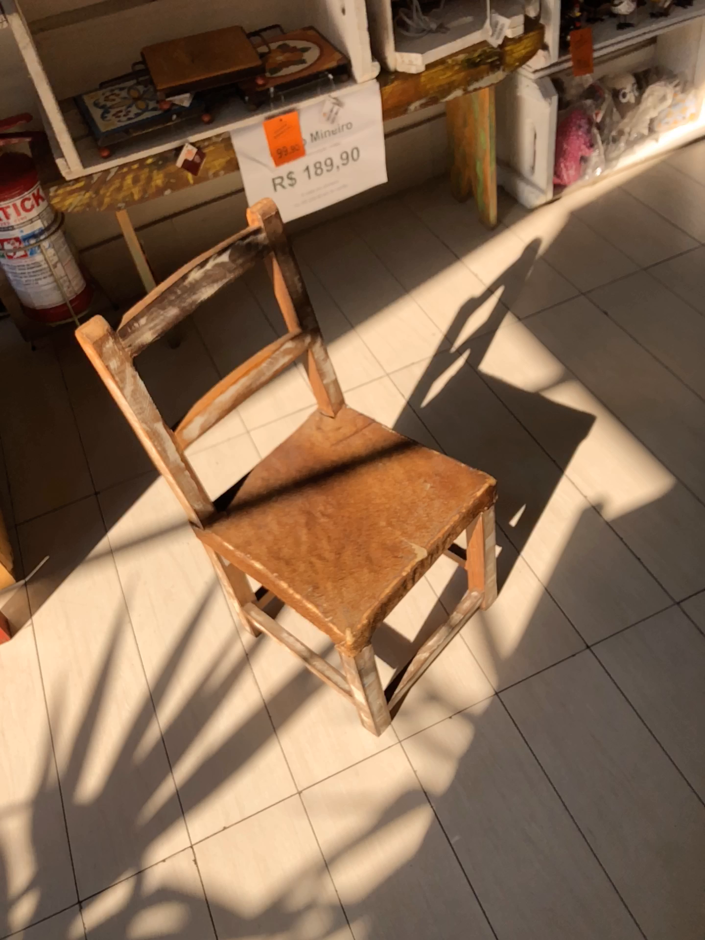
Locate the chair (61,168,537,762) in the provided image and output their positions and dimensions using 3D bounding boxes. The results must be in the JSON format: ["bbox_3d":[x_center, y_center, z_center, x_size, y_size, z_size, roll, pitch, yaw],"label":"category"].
[{"bbox_3d":[-0.014,0.020,0.950,0.341,0.596,0.301,30,60,31],"label":"chair"}]
